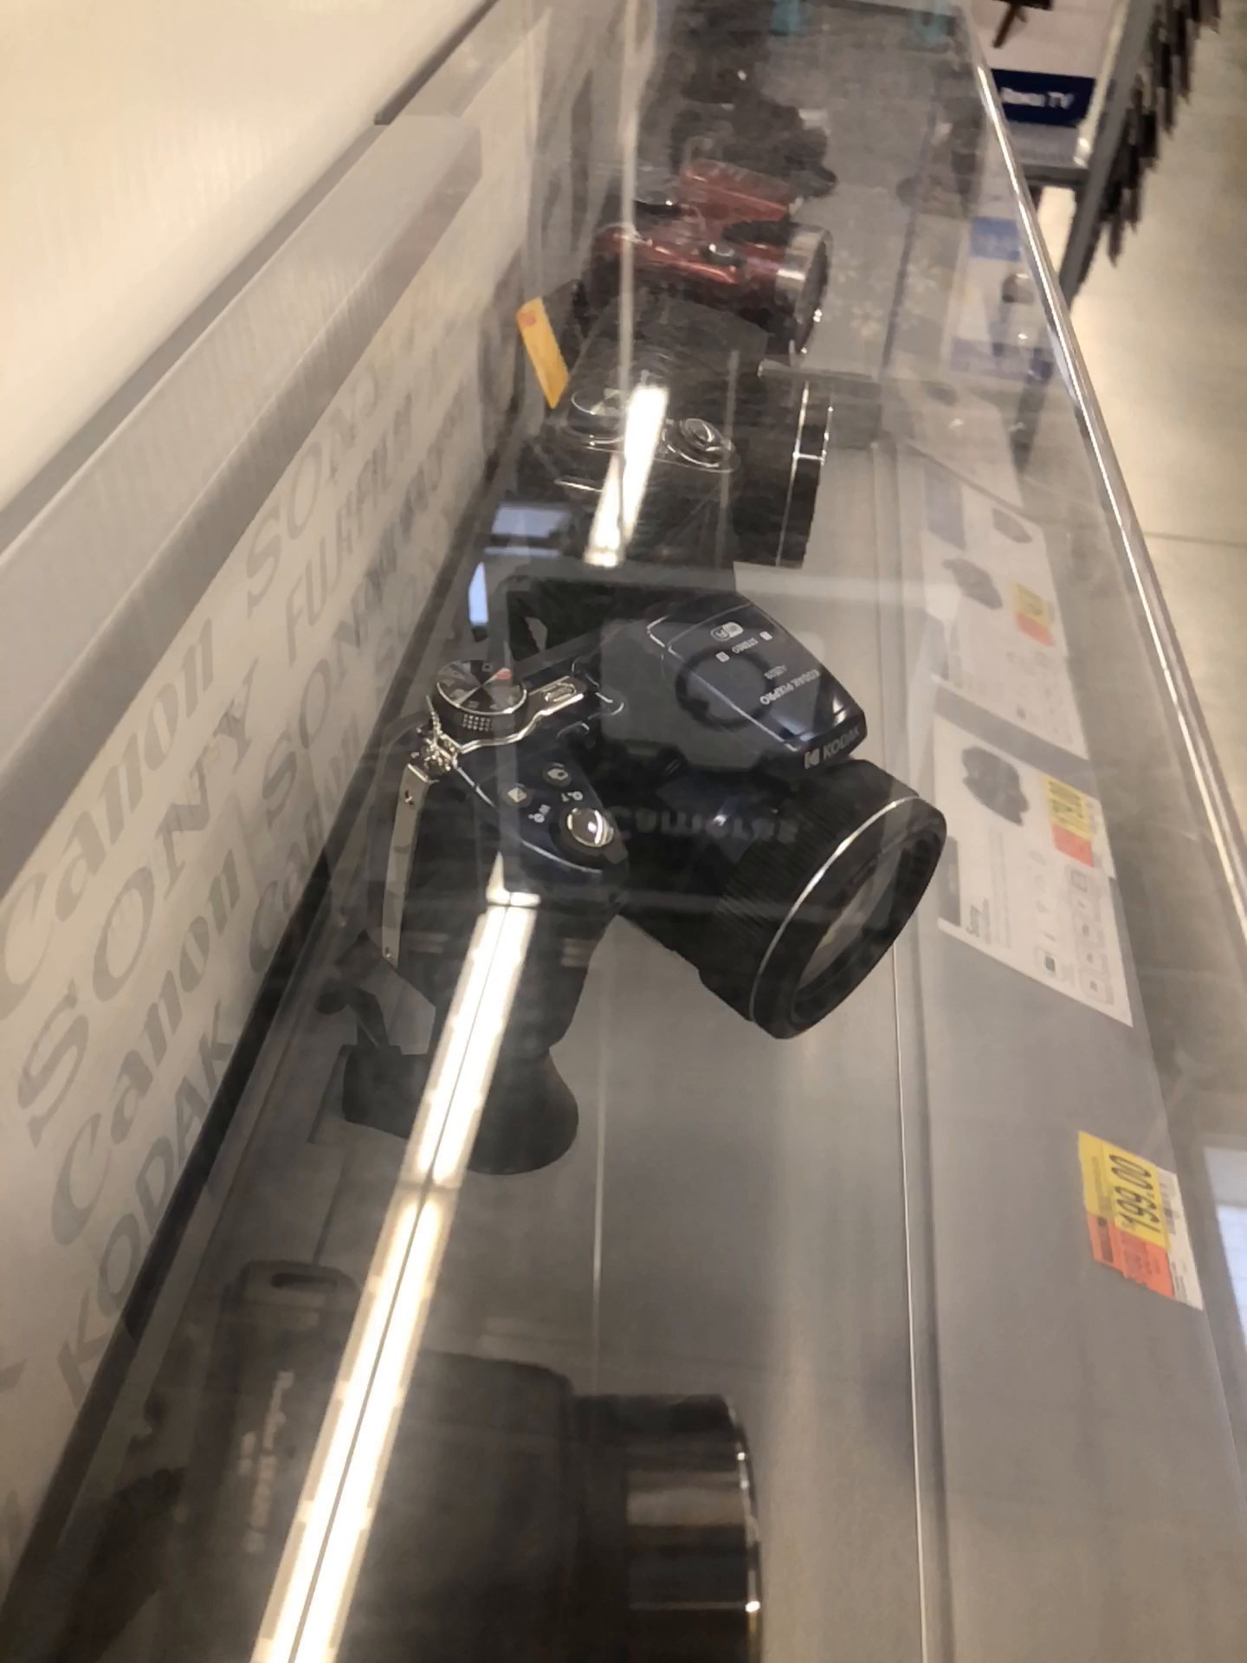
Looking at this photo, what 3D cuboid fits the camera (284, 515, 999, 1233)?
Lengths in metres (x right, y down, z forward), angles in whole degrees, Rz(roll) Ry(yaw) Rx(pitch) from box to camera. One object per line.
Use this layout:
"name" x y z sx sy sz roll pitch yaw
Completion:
"camera" 0.004 0.002 0.340 0.110 0.090 0.120 32 48 27
